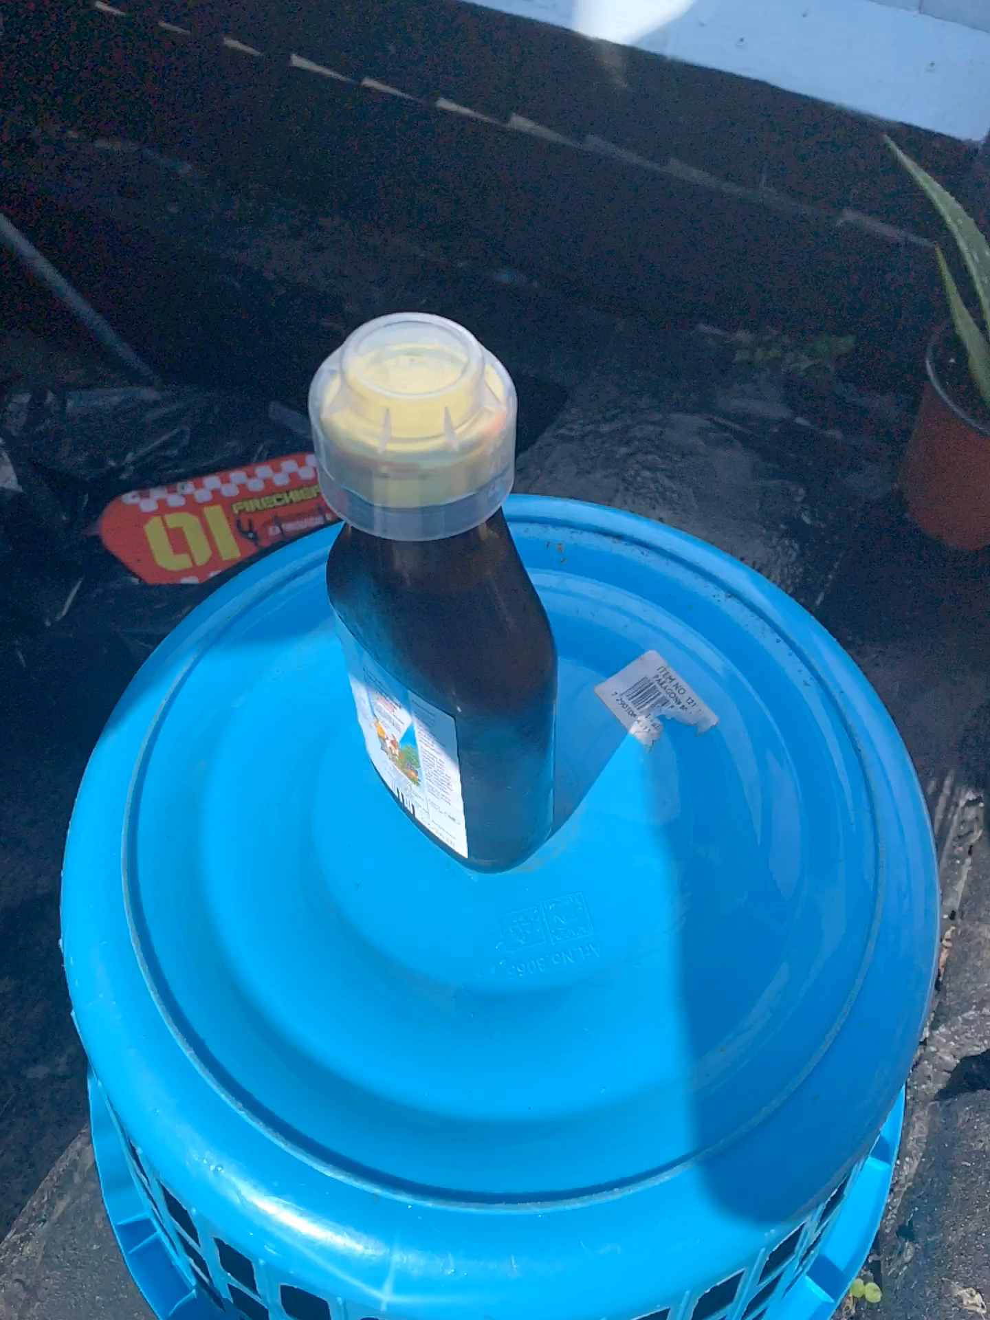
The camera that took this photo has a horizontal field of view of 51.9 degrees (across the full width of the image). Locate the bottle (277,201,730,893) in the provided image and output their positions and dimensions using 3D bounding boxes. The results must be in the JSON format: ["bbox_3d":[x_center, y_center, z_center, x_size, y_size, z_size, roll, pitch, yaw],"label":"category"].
[{"bbox_3d":[-0.004,-0.012,0.291,0.080,0.199,0.050,39,63,20],"label":"bottle"}]
